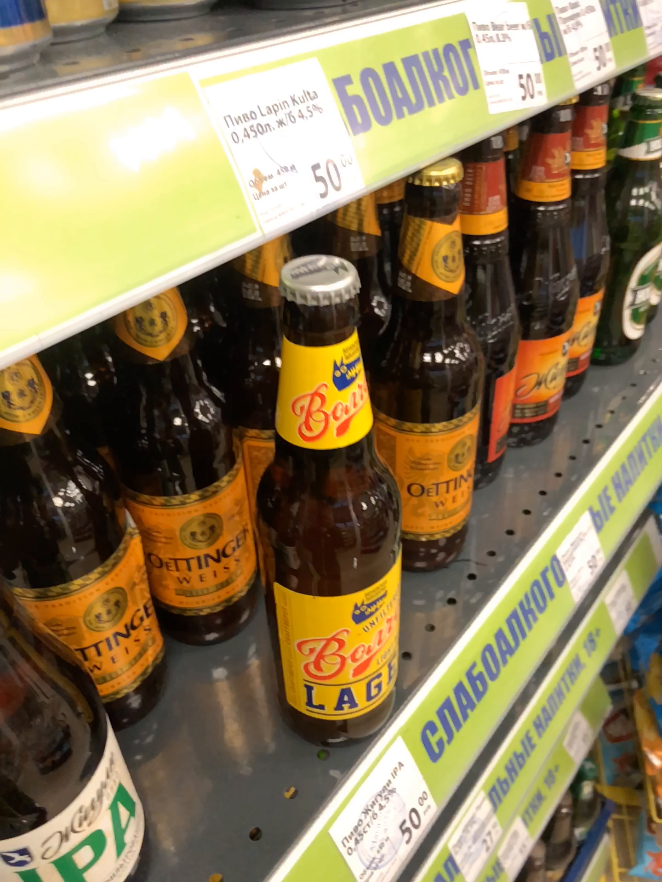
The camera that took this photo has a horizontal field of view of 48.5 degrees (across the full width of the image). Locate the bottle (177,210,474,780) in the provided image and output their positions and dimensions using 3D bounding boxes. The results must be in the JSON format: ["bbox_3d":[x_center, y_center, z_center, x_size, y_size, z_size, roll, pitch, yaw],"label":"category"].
[{"bbox_3d":[-0.001,0.036,0.315,0.070,0.238,0.070,-1,38,0],"label":"bottle"}]
